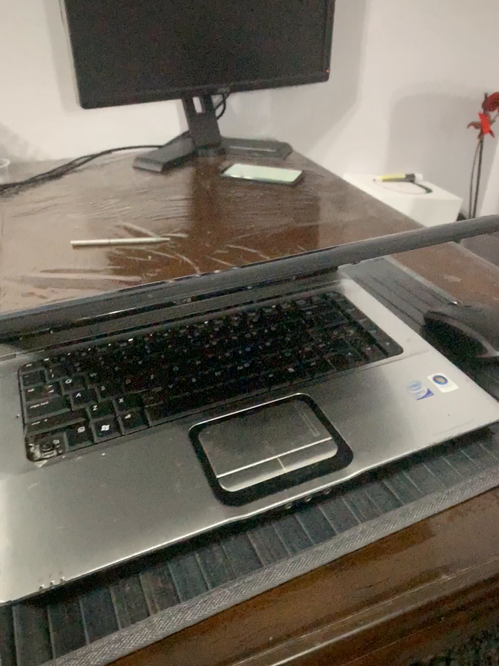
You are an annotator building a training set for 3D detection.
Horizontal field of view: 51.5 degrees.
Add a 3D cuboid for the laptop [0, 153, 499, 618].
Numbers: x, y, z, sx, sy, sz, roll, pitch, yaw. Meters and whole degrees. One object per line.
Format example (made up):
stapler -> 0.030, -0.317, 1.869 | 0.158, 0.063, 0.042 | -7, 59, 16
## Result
laptop -> -0.016, -0.019, 0.368 | 0.343, 0.108, 0.245 | -14, 39, -22
